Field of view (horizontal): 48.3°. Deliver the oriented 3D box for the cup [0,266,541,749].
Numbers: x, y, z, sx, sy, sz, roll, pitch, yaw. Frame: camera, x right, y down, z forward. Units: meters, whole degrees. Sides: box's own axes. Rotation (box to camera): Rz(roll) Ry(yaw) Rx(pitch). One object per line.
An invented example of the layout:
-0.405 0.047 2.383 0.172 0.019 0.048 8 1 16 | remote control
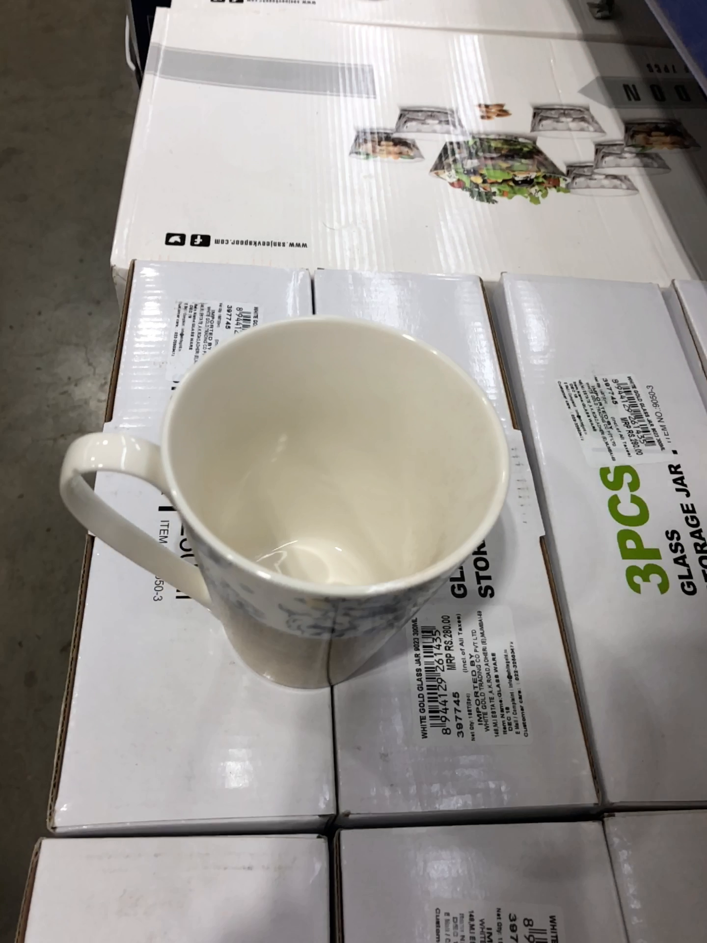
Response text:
-0.024 0.016 0.236 0.130 0.100 0.090 7 54 -1 | cup
